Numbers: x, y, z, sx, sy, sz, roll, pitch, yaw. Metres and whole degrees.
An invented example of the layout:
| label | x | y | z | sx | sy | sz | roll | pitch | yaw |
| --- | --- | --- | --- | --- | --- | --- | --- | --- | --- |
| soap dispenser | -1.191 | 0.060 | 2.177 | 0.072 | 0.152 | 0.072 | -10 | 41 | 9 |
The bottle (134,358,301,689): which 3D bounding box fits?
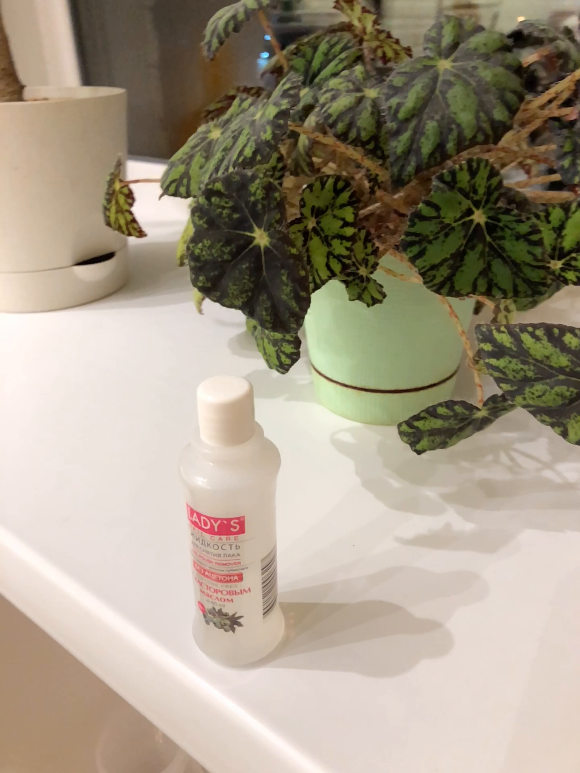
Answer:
| label | x | y | z | sx | sy | sz | roll | pitch | yaw |
| --- | --- | --- | --- | --- | --- | --- | --- | --- | --- |
| bottle | -0.021 | 0.048 | 0.221 | 0.037 | 0.105 | 0.037 | -1 | 28 | 1 |
